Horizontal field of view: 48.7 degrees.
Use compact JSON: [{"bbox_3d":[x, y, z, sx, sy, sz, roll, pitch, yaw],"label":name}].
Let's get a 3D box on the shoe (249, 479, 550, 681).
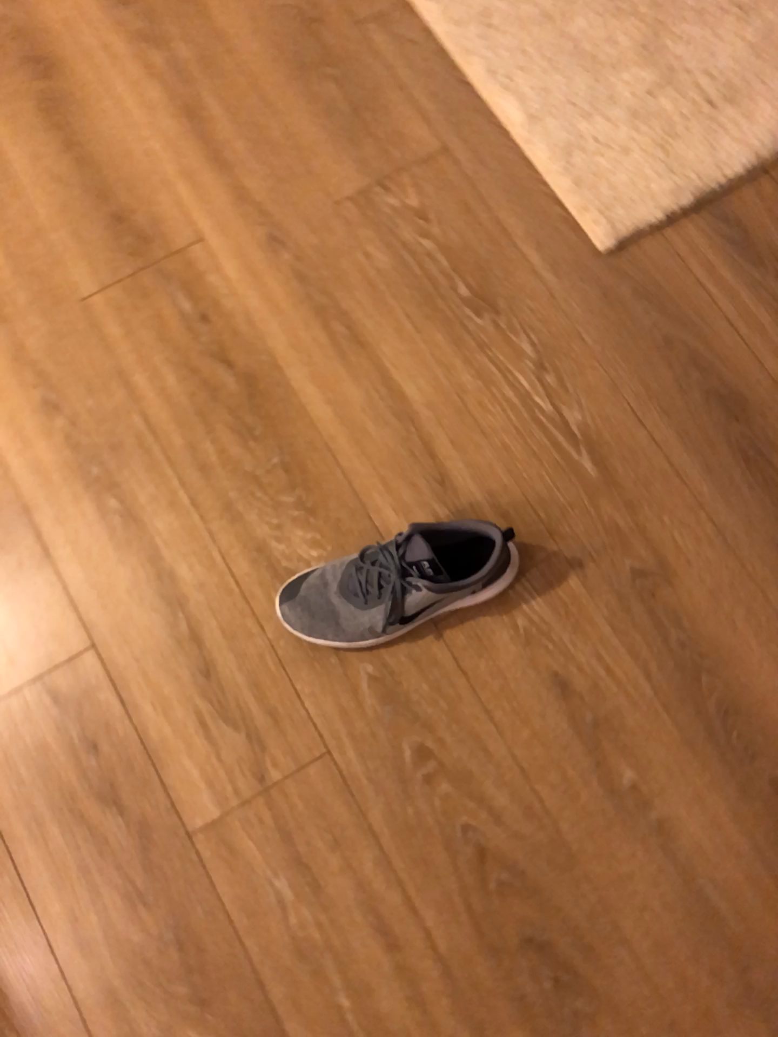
[{"bbox_3d":[0.011,0.075,1.032,0.320,0.080,0.140,-17,75,-5],"label":"shoe"}]
